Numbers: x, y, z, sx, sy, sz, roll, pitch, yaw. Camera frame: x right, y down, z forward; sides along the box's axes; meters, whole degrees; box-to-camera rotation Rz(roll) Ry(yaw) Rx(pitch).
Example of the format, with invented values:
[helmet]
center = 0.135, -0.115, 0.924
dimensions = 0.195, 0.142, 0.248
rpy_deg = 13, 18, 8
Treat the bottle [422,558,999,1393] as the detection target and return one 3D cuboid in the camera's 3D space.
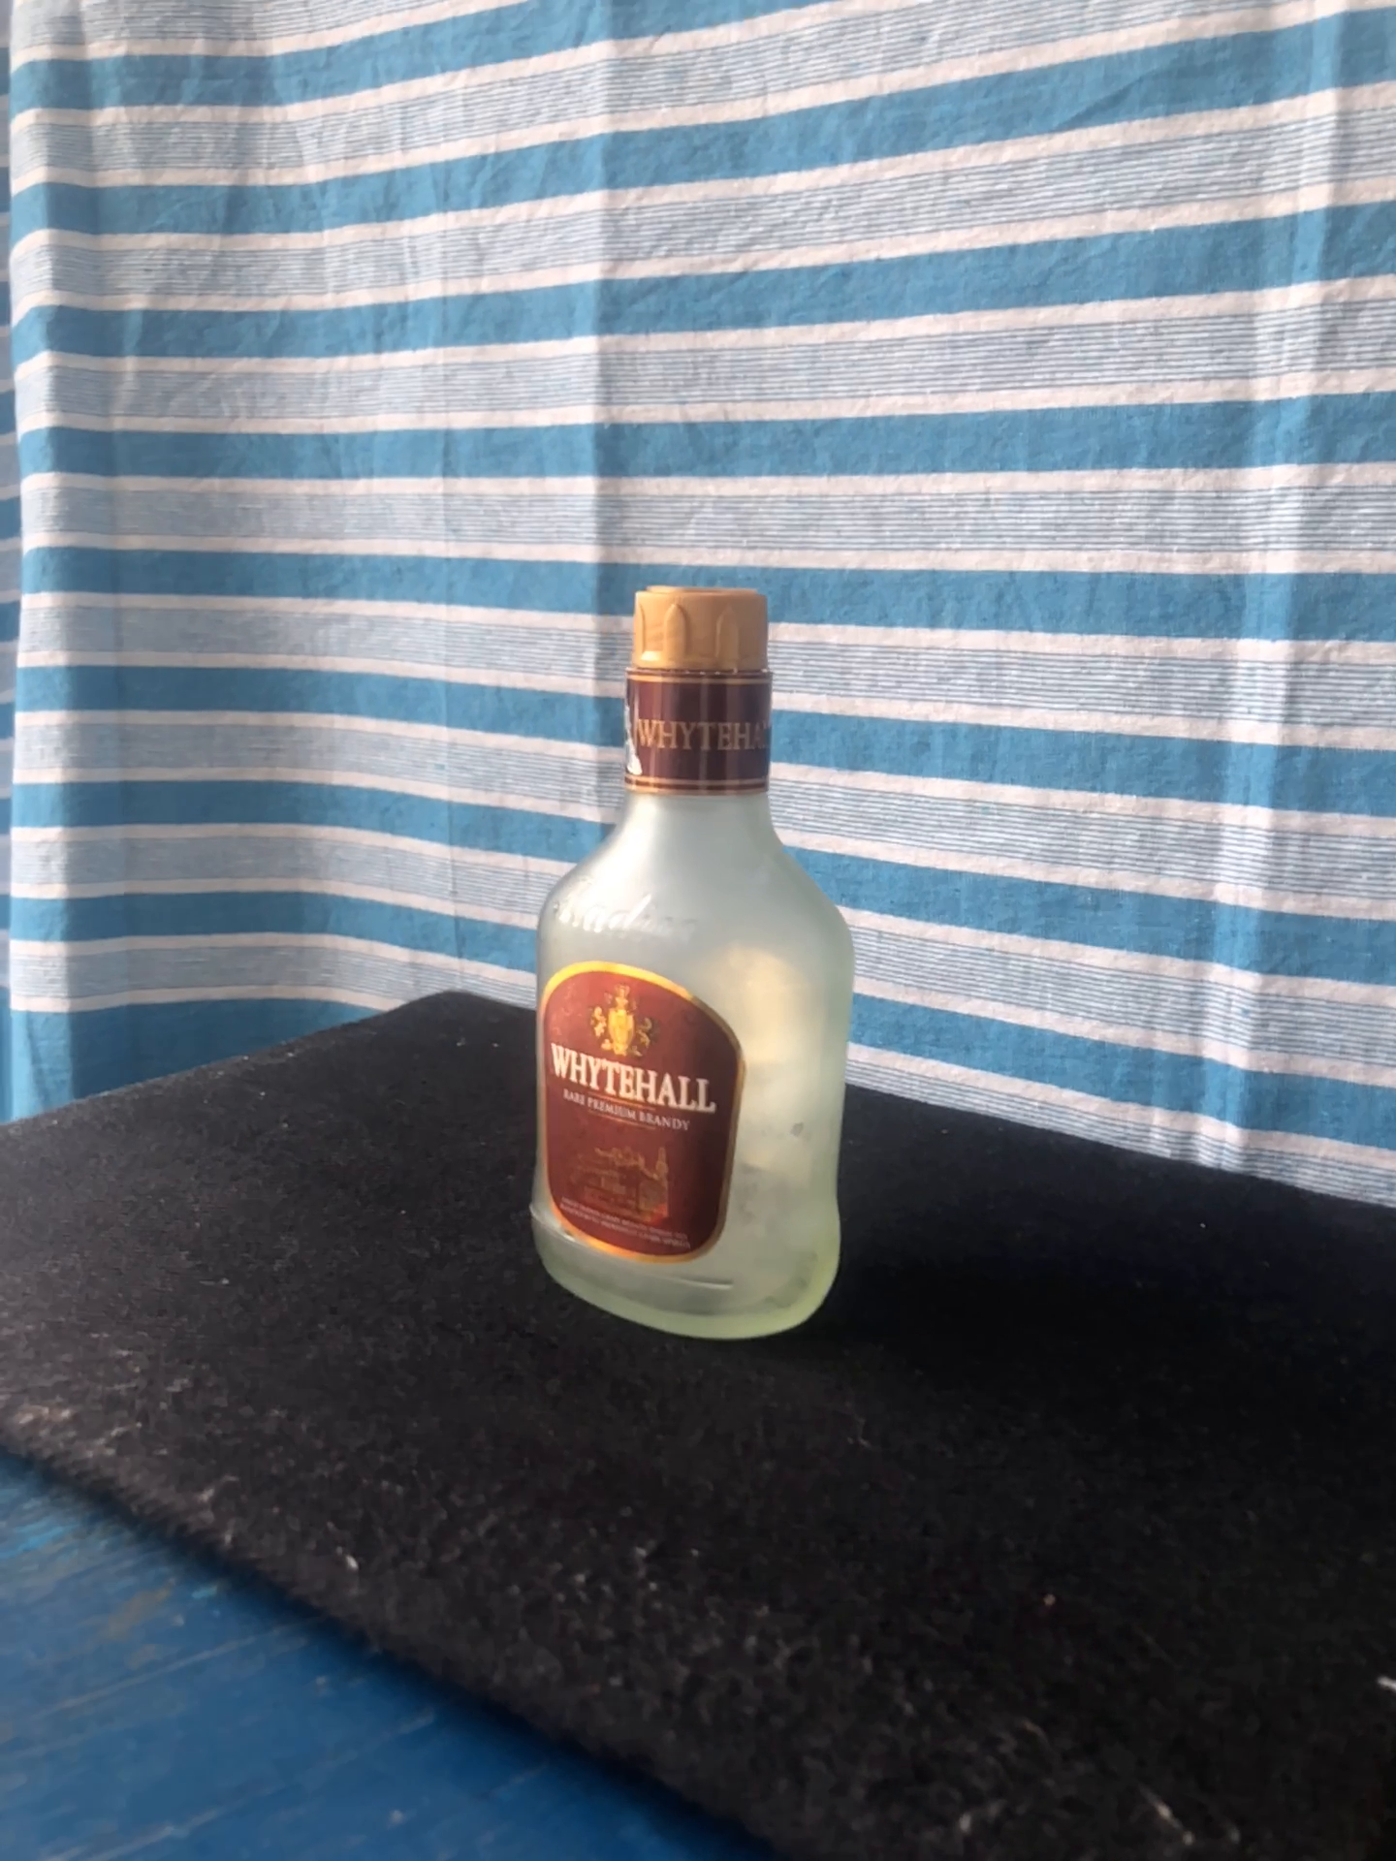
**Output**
[bottle]
center = 0.000, 0.000, 0.283
dimensions = 0.080, 0.130, 0.060
rpy_deg = 12, 18, 36
